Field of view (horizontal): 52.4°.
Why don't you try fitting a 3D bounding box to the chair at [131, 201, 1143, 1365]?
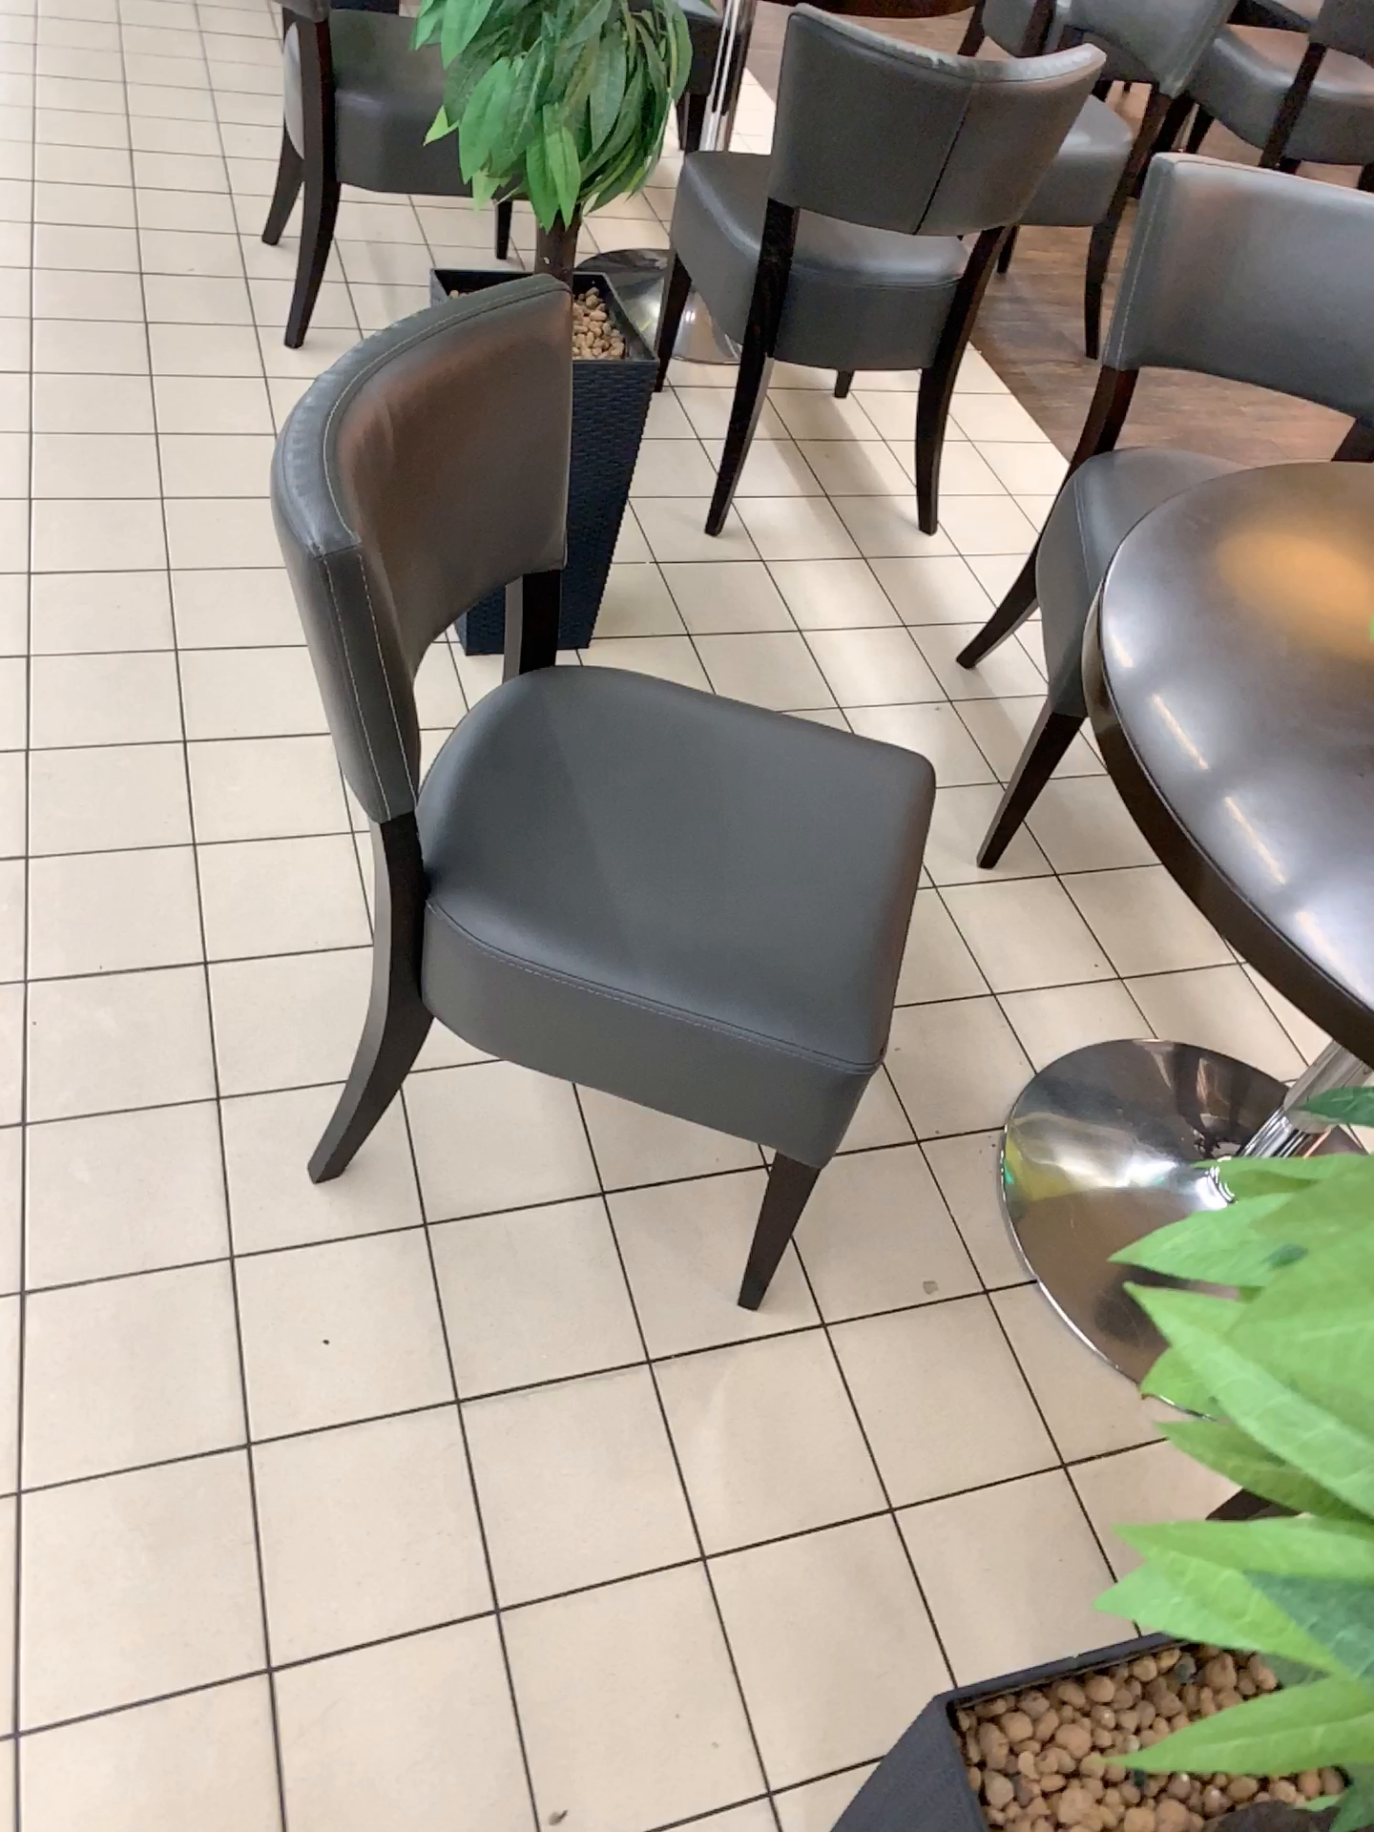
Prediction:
[{"bbox_3d":[-0.046,-0.098,1.348,0.640,0.797,0.552,19,46,4],"label":"chair"}]
